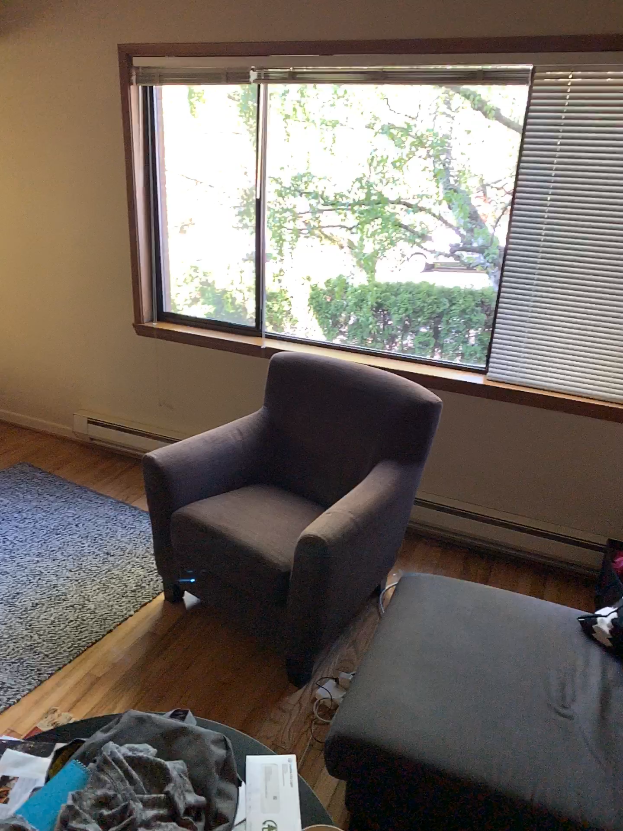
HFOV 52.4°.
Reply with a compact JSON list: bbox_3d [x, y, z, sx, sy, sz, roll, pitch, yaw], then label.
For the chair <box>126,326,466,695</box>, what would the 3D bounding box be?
[{"bbox_3d":[-0.070,0.235,2.350,0.882,0.876,0.802,18,24,34],"label":"chair"}]
